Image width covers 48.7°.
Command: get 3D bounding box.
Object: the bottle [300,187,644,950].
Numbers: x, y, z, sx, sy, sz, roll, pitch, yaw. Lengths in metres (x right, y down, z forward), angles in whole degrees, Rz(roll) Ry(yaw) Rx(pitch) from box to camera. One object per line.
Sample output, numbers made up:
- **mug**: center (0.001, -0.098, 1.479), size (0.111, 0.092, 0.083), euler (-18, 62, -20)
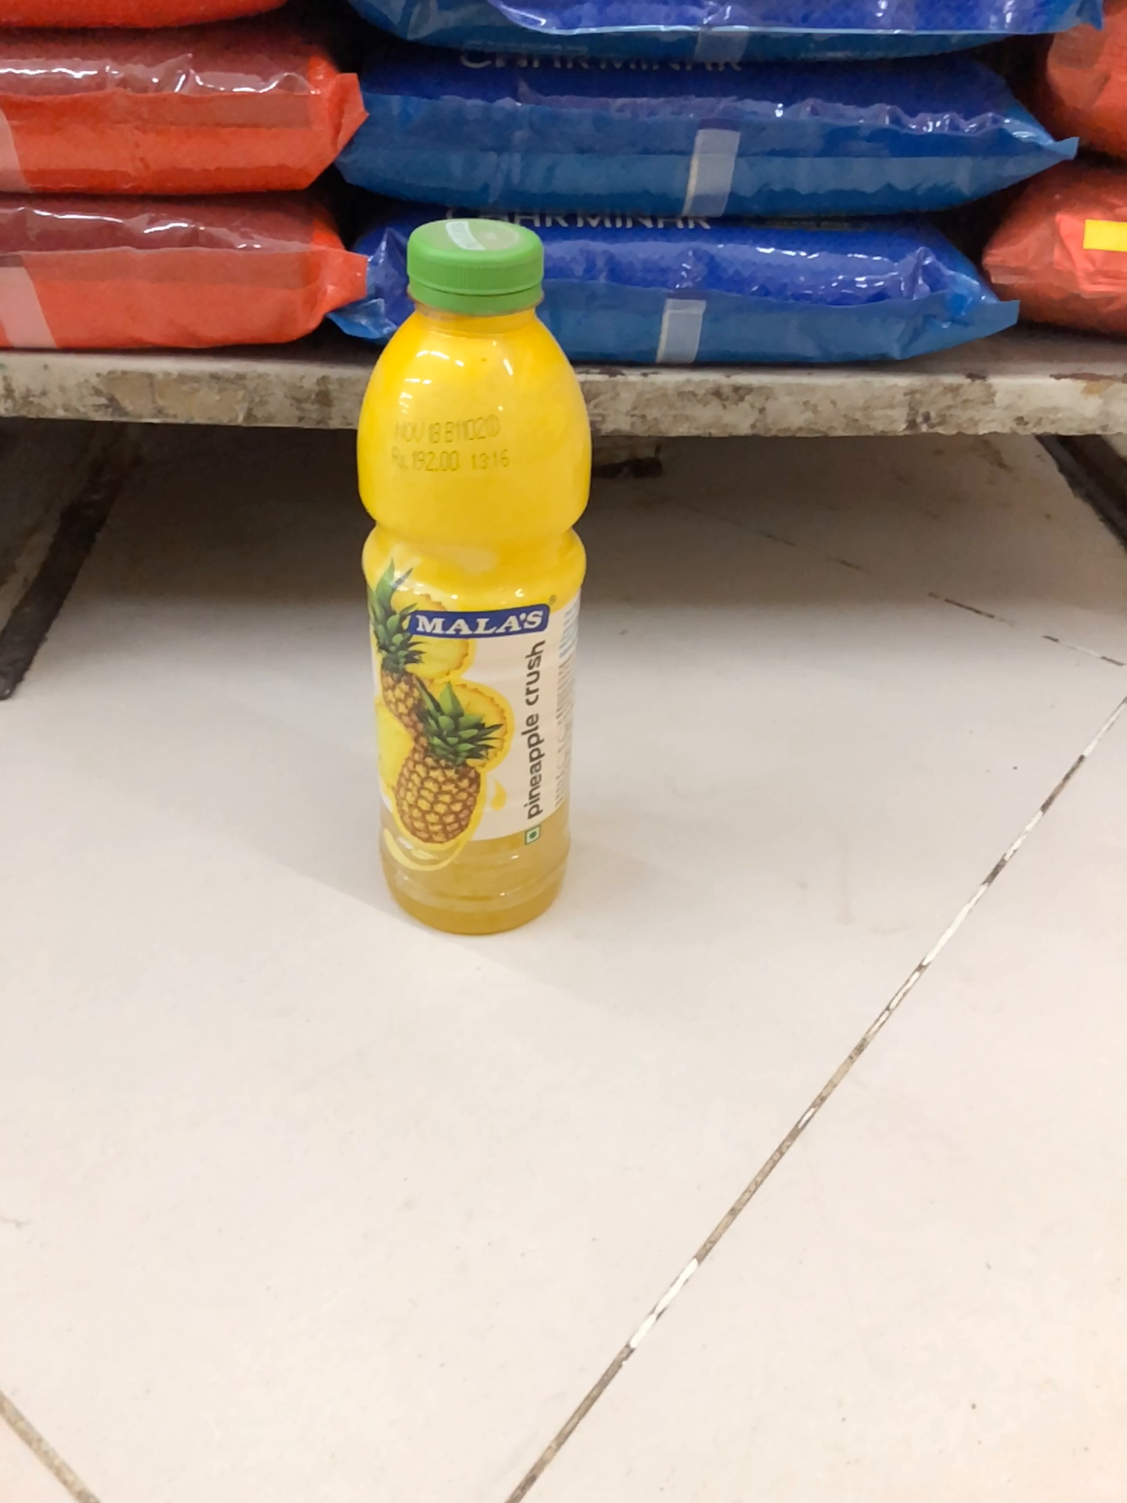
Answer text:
- **bottle**: center (-0.033, -0.054, 0.437), size (0.090, 0.248, 0.091), euler (1, 38, -1)
